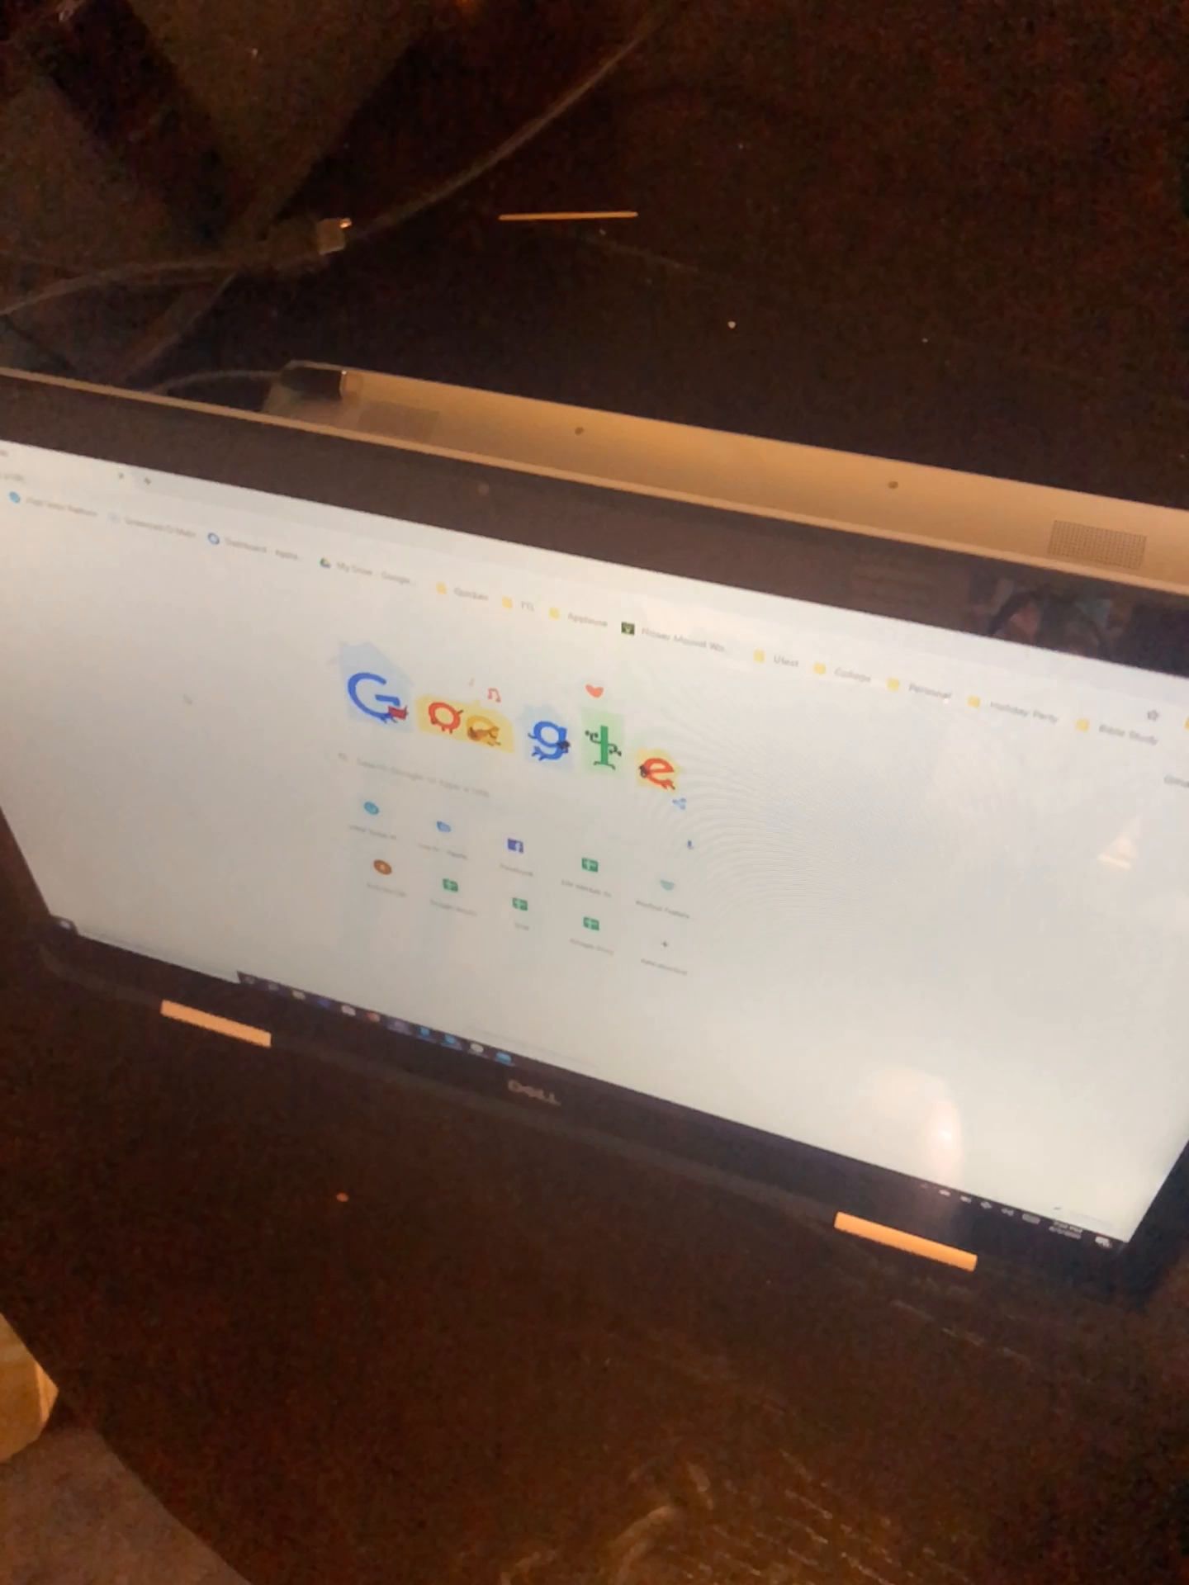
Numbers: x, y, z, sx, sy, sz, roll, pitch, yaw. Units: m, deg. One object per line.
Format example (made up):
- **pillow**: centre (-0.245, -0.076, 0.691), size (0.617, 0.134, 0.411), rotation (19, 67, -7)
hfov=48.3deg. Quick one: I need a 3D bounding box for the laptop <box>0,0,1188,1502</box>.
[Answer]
- **laptop**: centre (-0.003, -0.042, 0.383), size (0.419, 0.233, 0.267), rotation (15, 80, 15)
